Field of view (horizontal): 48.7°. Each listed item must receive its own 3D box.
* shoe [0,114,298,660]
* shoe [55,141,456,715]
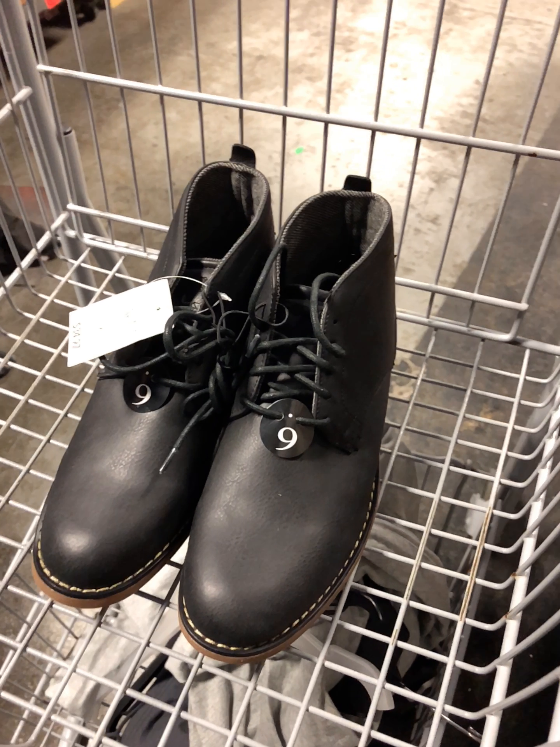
[{"bbox_3d":[-0.081,0.009,0.388,0.100,0.199,0.261,16,57,13],"label":"shoe"},{"bbox_3d":[0.012,0.033,0.378,0.100,0.199,0.271,16,57,13],"label":"shoe"}]
